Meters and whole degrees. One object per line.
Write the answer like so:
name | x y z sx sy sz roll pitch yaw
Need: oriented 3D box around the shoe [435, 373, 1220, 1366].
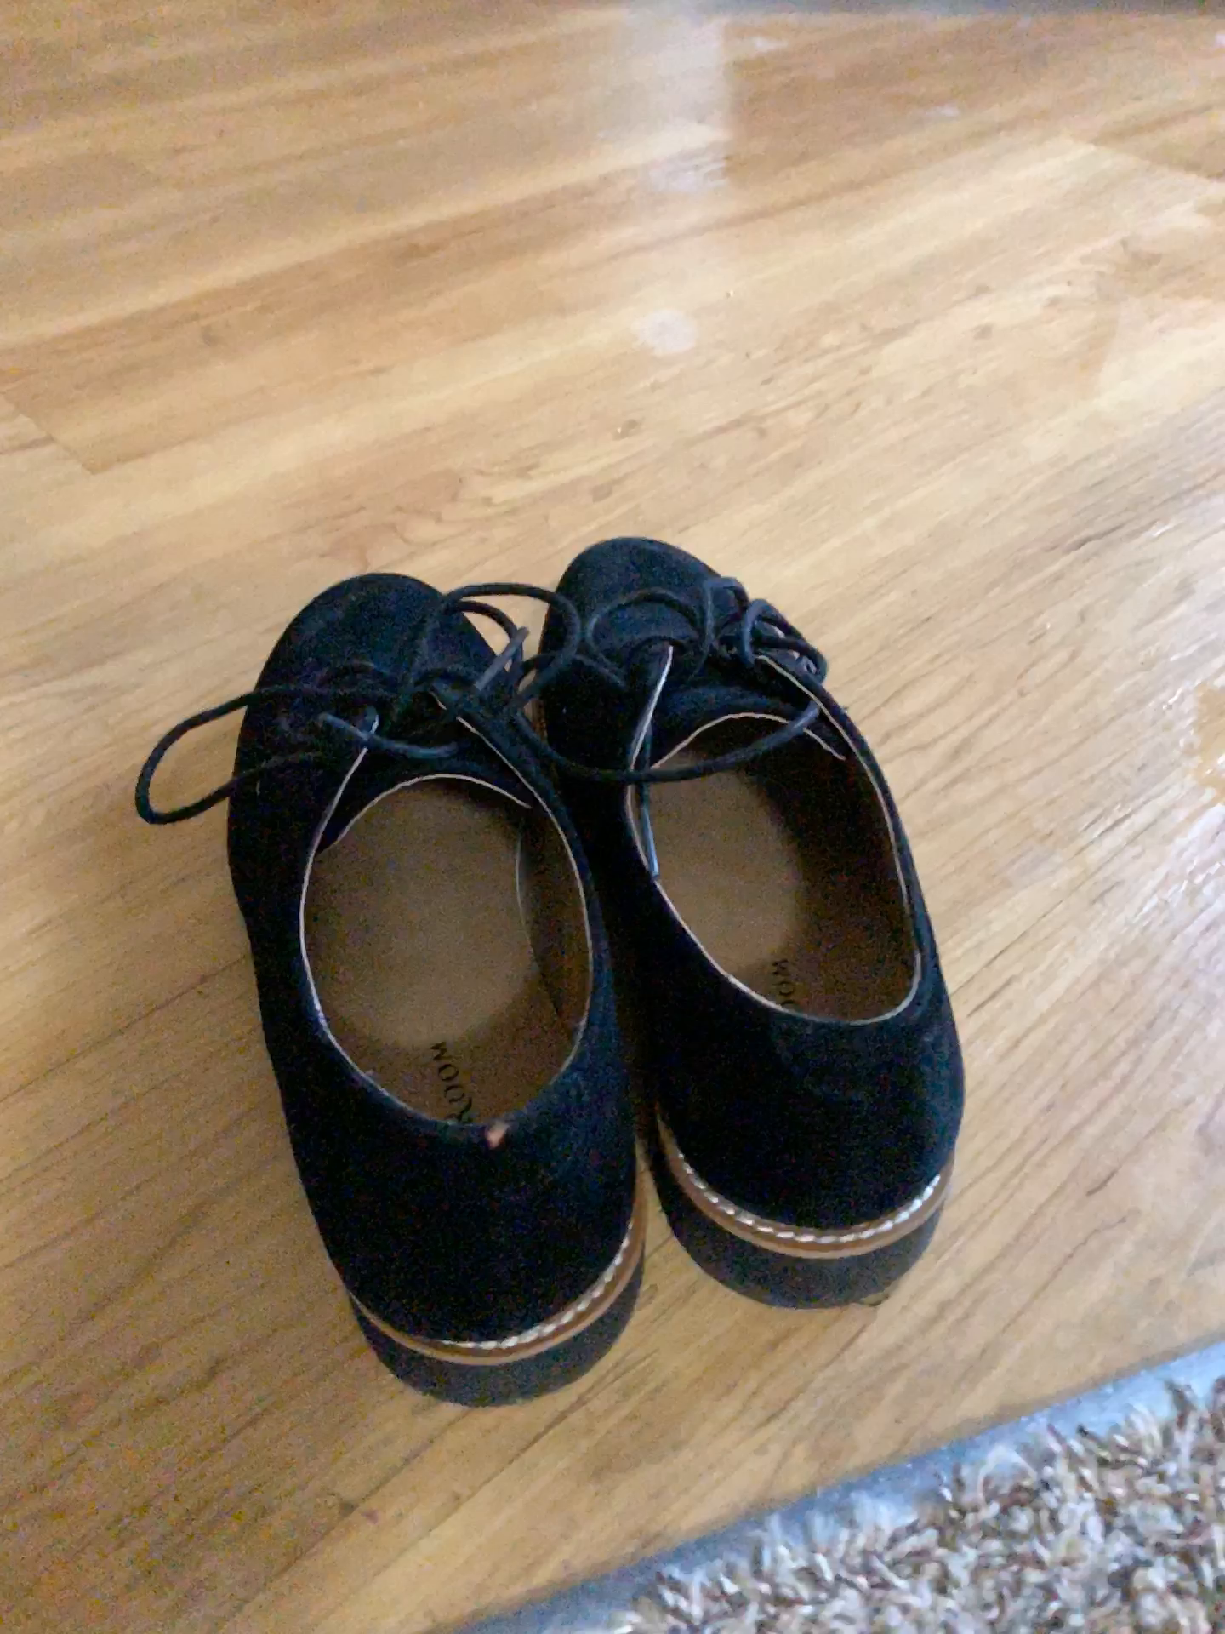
shoe | 0.027 -0.022 0.363 0.110 0.070 0.311 -9 45 -9

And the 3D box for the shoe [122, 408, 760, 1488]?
shoe | -0.068 -0.004 0.346 0.100 0.070 0.311 -12 46 -13
